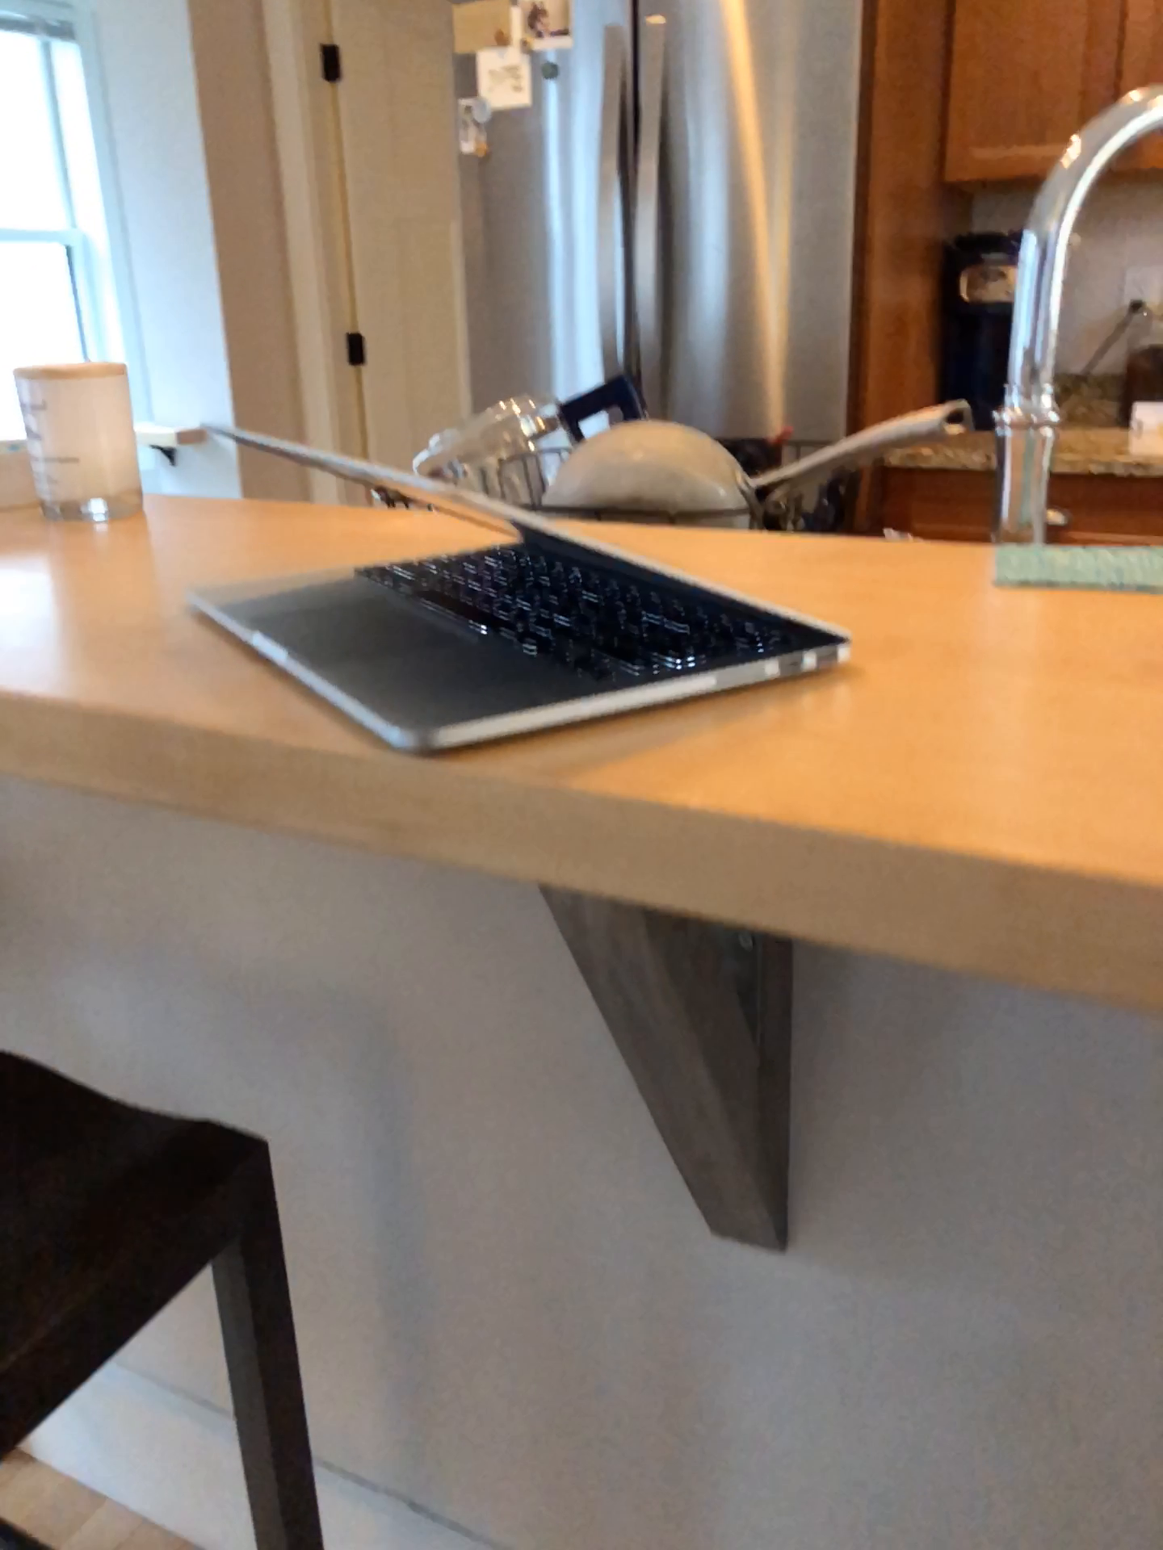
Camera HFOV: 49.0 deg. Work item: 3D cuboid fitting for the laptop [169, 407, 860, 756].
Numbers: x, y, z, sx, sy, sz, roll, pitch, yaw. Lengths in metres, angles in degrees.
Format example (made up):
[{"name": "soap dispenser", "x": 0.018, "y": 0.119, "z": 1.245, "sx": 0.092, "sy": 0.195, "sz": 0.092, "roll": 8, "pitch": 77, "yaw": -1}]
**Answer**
[{"name": "laptop", "x": -0.050, "y": -0.114, "z": 0.610, "sx": 0.210, "sy": 0.084, "sz": 0.301, "roll": -13, "pitch": 24, "yaw": -27}]
